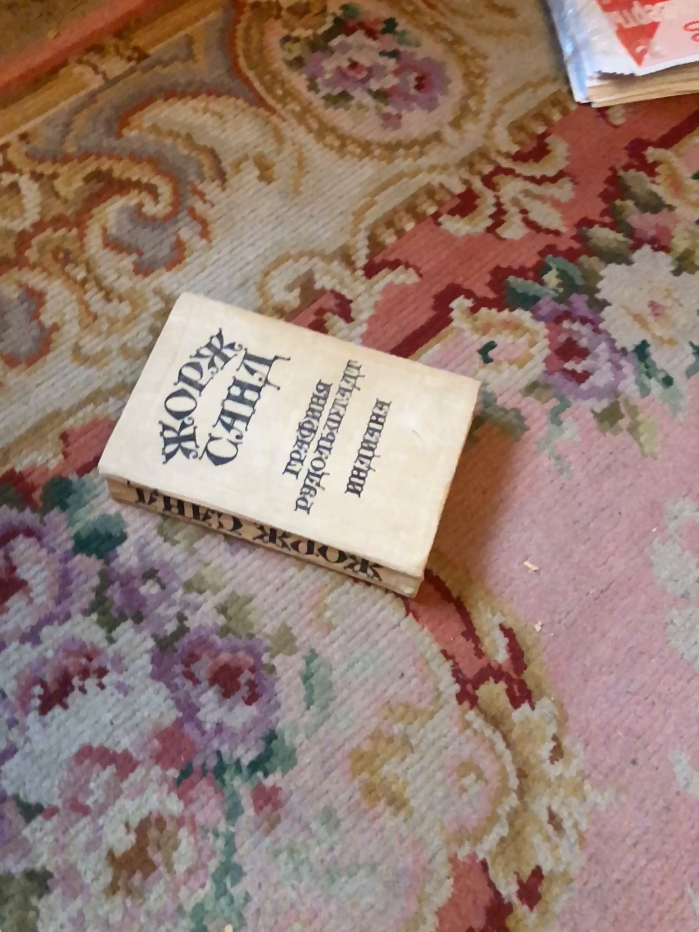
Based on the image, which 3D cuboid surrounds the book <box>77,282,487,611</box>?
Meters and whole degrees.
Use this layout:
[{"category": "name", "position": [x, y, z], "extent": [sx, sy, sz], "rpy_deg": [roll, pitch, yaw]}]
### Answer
[{"category": "book", "position": [-0.039, -0.016, 0.511], "extent": [0.220, 0.057, 0.150], "rpy_deg": [18, 69, 6]}]
